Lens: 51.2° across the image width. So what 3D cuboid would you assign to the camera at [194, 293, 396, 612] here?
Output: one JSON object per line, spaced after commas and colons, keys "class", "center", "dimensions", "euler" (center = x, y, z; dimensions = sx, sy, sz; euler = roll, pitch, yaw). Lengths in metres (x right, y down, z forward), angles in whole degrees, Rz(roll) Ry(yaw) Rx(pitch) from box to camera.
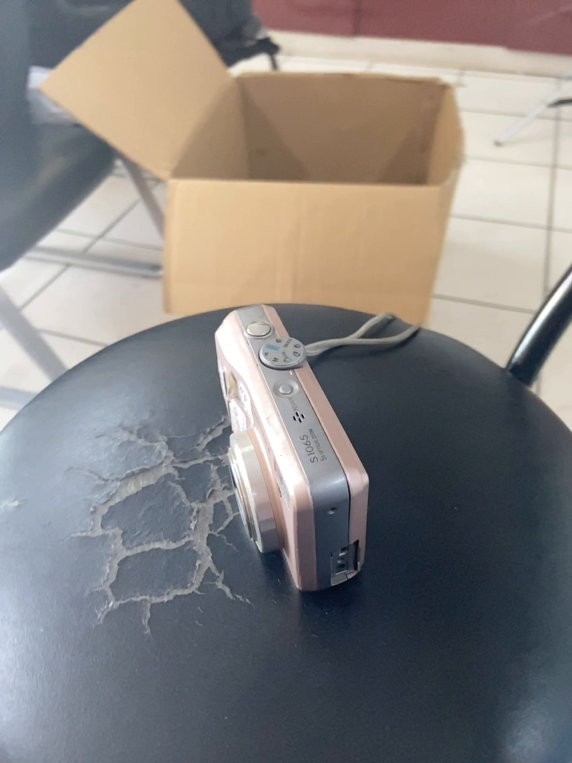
{"class": "camera", "center": [-0.001, 0.025, 0.241], "dimensions": [0.040, 0.070, 0.100], "euler": [-16, 45, -13]}
